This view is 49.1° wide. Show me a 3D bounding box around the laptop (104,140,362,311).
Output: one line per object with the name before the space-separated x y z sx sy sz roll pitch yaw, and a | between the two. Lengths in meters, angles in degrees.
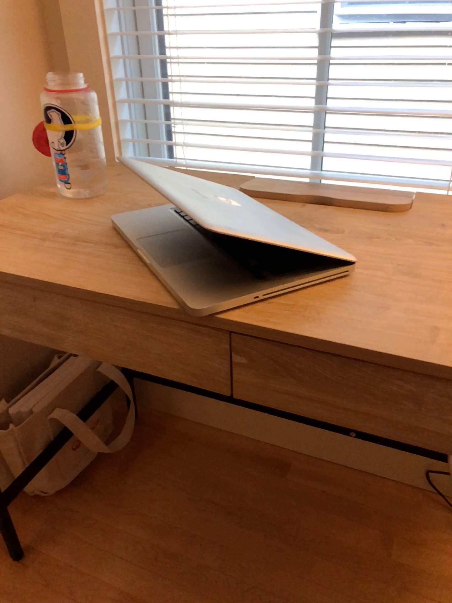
laptop | -0.010 -0.121 0.638 0.209 0.082 0.301 -16 34 -22
